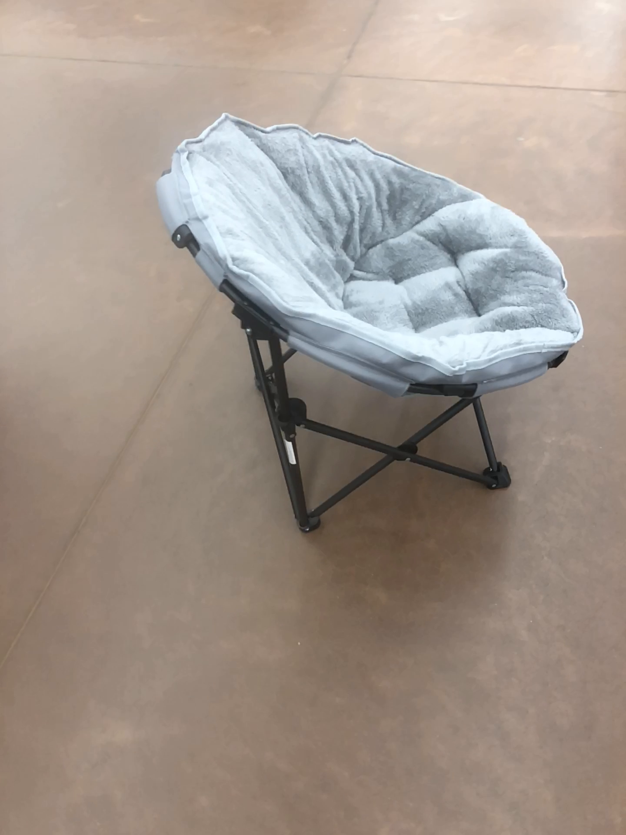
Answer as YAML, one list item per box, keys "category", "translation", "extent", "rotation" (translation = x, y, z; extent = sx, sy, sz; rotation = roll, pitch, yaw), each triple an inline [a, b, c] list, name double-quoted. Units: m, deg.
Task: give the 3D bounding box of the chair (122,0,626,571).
- category: "chair"
  translation: [0.116, -0.217, 1.099]
  extent: [0.630, 0.528, 0.572]
  rotation: [-16, 51, -6]
